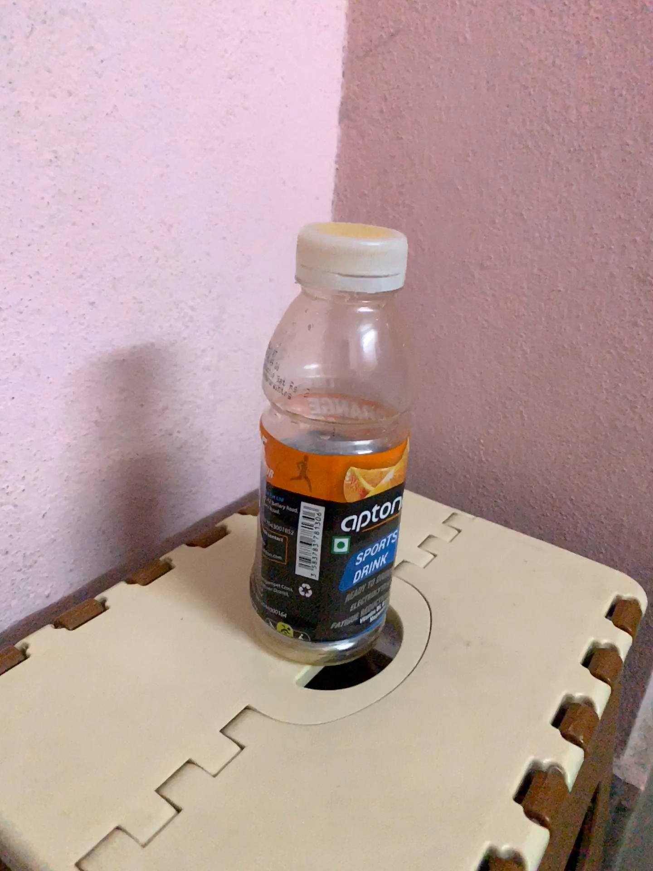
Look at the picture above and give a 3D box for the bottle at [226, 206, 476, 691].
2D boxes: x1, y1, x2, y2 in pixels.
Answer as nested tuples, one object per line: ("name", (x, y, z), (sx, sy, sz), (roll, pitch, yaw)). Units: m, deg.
("bottle", (0.005, 0.004, 0.281), (0.060, 0.179, 0.070), (21, 29, 33))
